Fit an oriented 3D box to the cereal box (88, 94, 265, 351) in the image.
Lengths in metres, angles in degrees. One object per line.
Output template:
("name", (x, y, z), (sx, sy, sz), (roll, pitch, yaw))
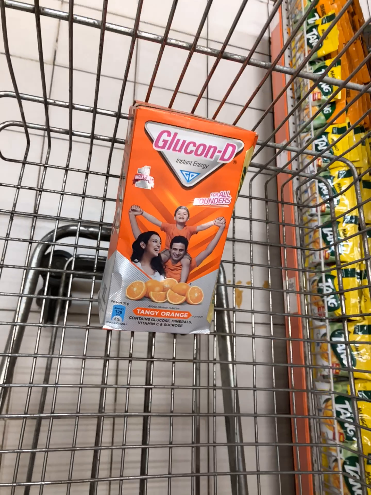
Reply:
("cereal box", (-0.020, -0.022, 0.401), (0.120, 0.100, 0.210), (7, 102, -15))
